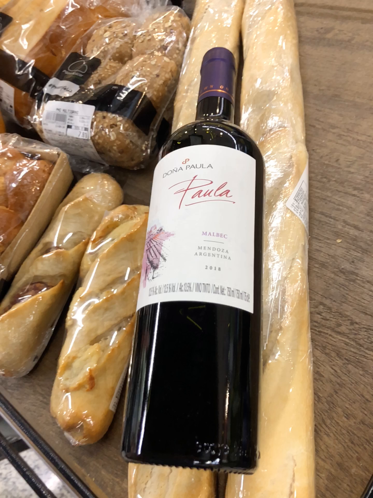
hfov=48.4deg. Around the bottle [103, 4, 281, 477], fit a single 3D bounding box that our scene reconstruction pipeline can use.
[{"bbox_3d":[0.018,-0.028,0.268,0.070,0.060,0.301,-5,61,19],"label":"bottle"}]
